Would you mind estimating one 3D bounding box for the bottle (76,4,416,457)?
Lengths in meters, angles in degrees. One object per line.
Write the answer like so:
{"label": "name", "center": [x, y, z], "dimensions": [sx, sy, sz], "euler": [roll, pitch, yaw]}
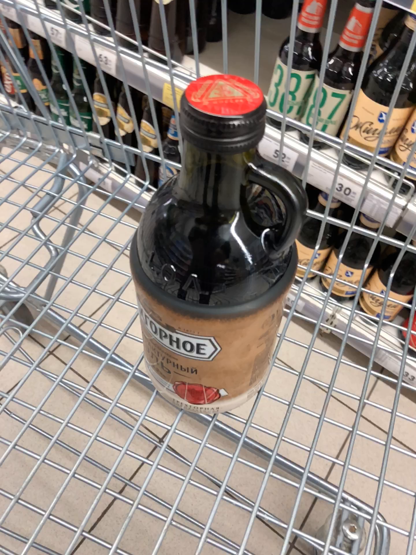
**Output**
{"label": "bottle", "center": [0.009, -0.006, 0.269], "dimensions": [0.100, 0.229, 0.110], "euler": [4, 52, -5]}
